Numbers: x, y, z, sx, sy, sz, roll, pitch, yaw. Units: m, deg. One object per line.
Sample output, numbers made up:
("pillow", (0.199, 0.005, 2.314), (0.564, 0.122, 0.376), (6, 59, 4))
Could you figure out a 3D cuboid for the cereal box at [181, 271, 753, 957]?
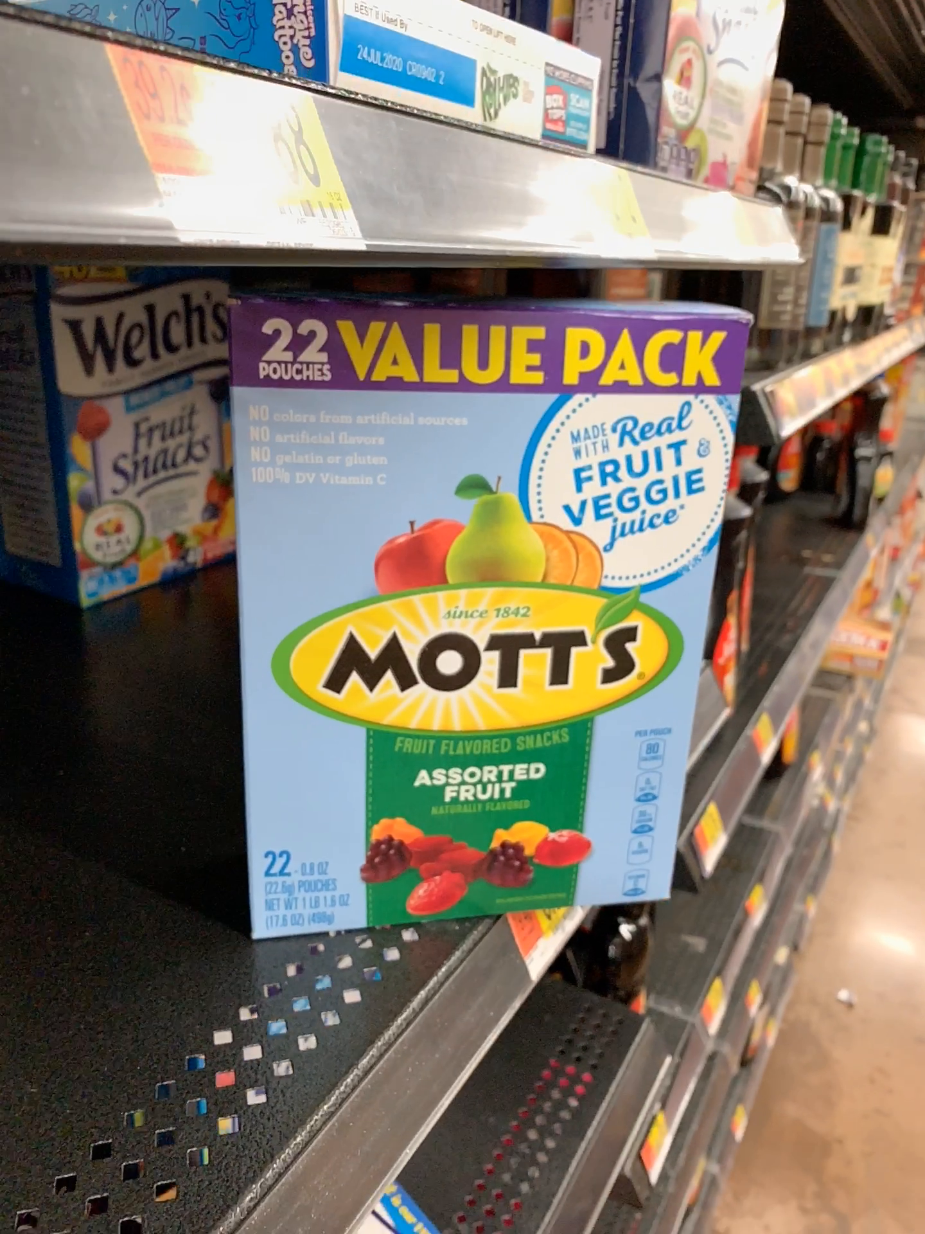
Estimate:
("cereal box", (-0.005, 0.001, 0.365), (0.180, 0.239, 0.060), (-2, 21, -13))
